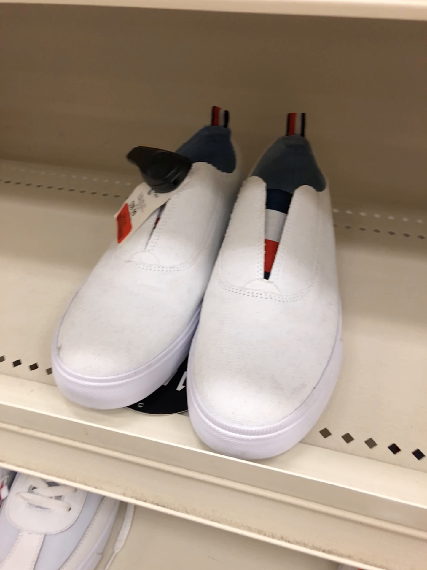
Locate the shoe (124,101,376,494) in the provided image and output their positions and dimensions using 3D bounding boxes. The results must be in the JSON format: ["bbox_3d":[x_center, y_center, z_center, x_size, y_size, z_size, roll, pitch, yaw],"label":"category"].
[{"bbox_3d":[0.052,-0.030,0.345,0.100,0.109,0.303,10,39,13],"label":"shoe"}]

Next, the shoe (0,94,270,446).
[{"bbox_3d":[-0.040,-0.046,0.342,0.100,0.089,0.292,10,39,13],"label":"shoe"}]
